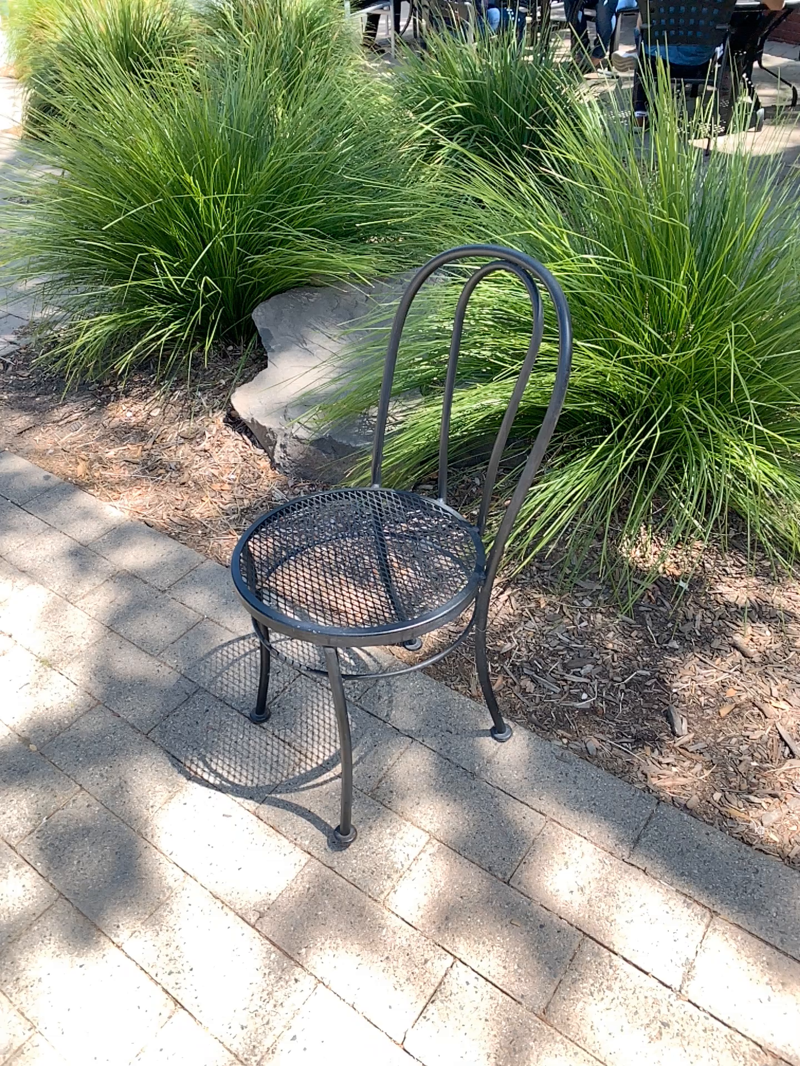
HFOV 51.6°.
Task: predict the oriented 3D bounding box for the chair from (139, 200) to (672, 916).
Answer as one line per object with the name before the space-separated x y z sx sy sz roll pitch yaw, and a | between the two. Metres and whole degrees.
chair | 0.006 0.062 1.388 0.528 0.998 0.463 -23 43 -24
